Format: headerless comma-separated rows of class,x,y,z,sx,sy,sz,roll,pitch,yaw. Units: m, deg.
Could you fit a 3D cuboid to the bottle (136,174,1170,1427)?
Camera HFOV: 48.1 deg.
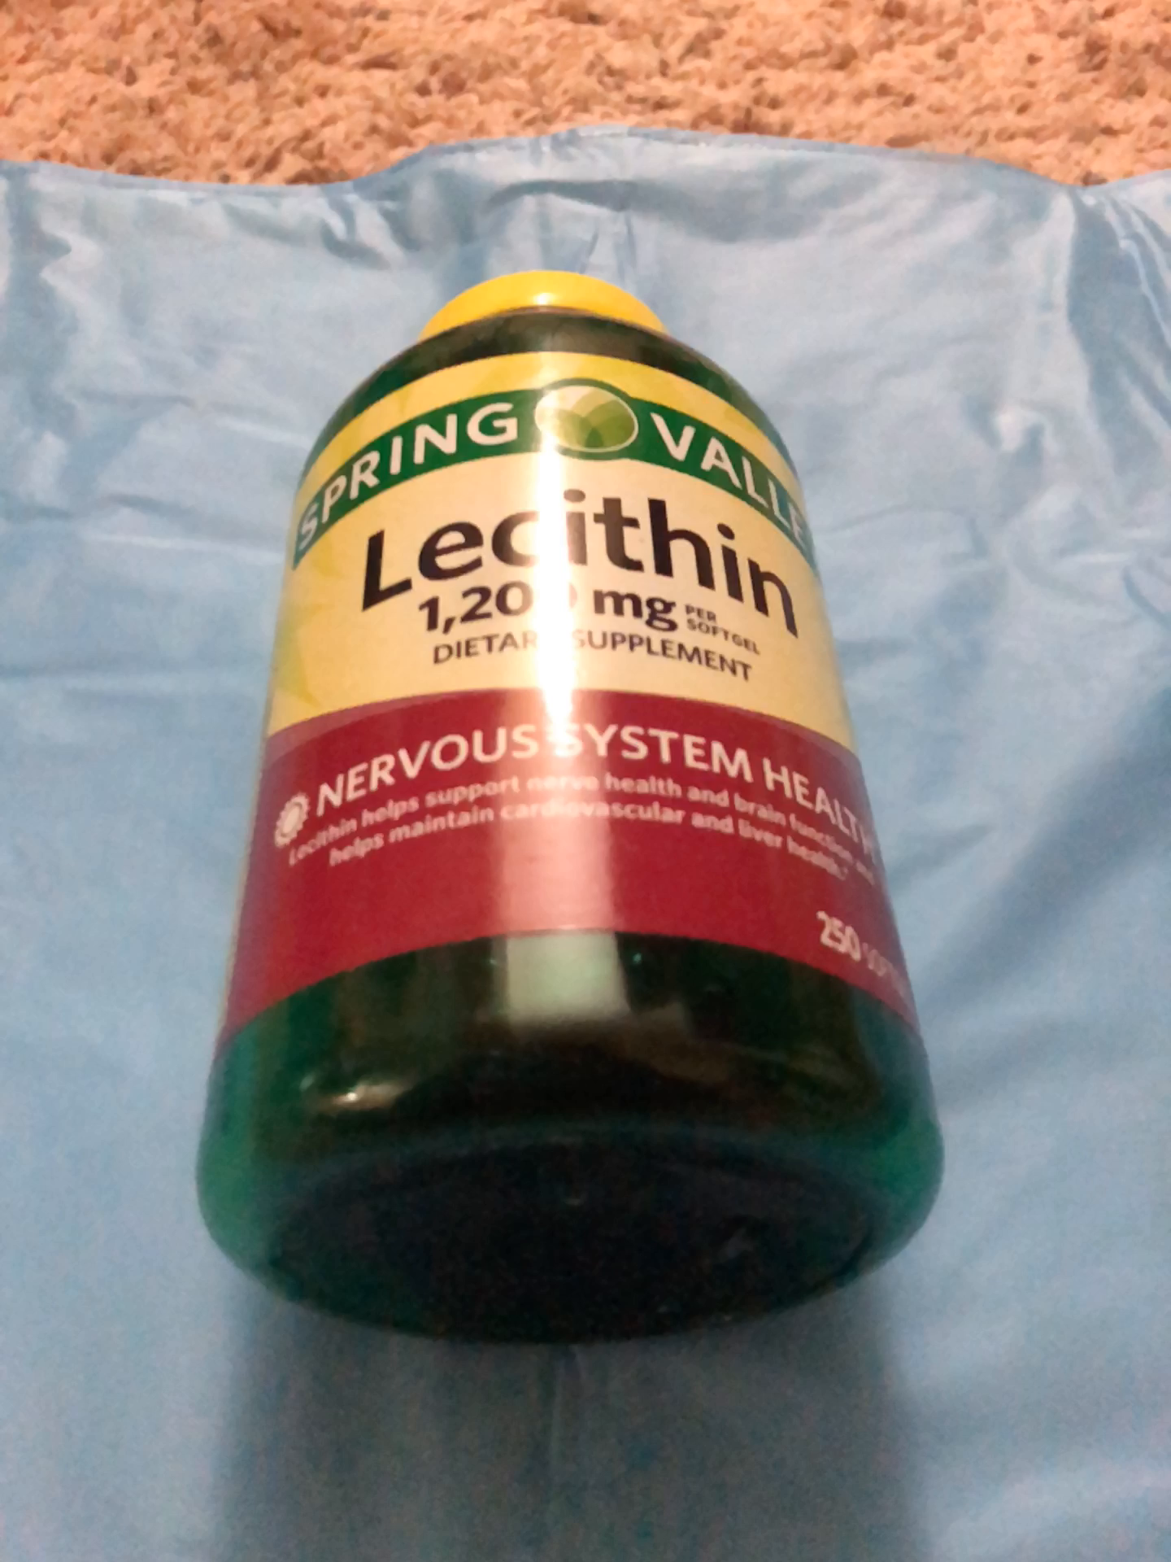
bottle,0.010,-0.005,0.203,0.100,0.090,0.170,-2,52,0
